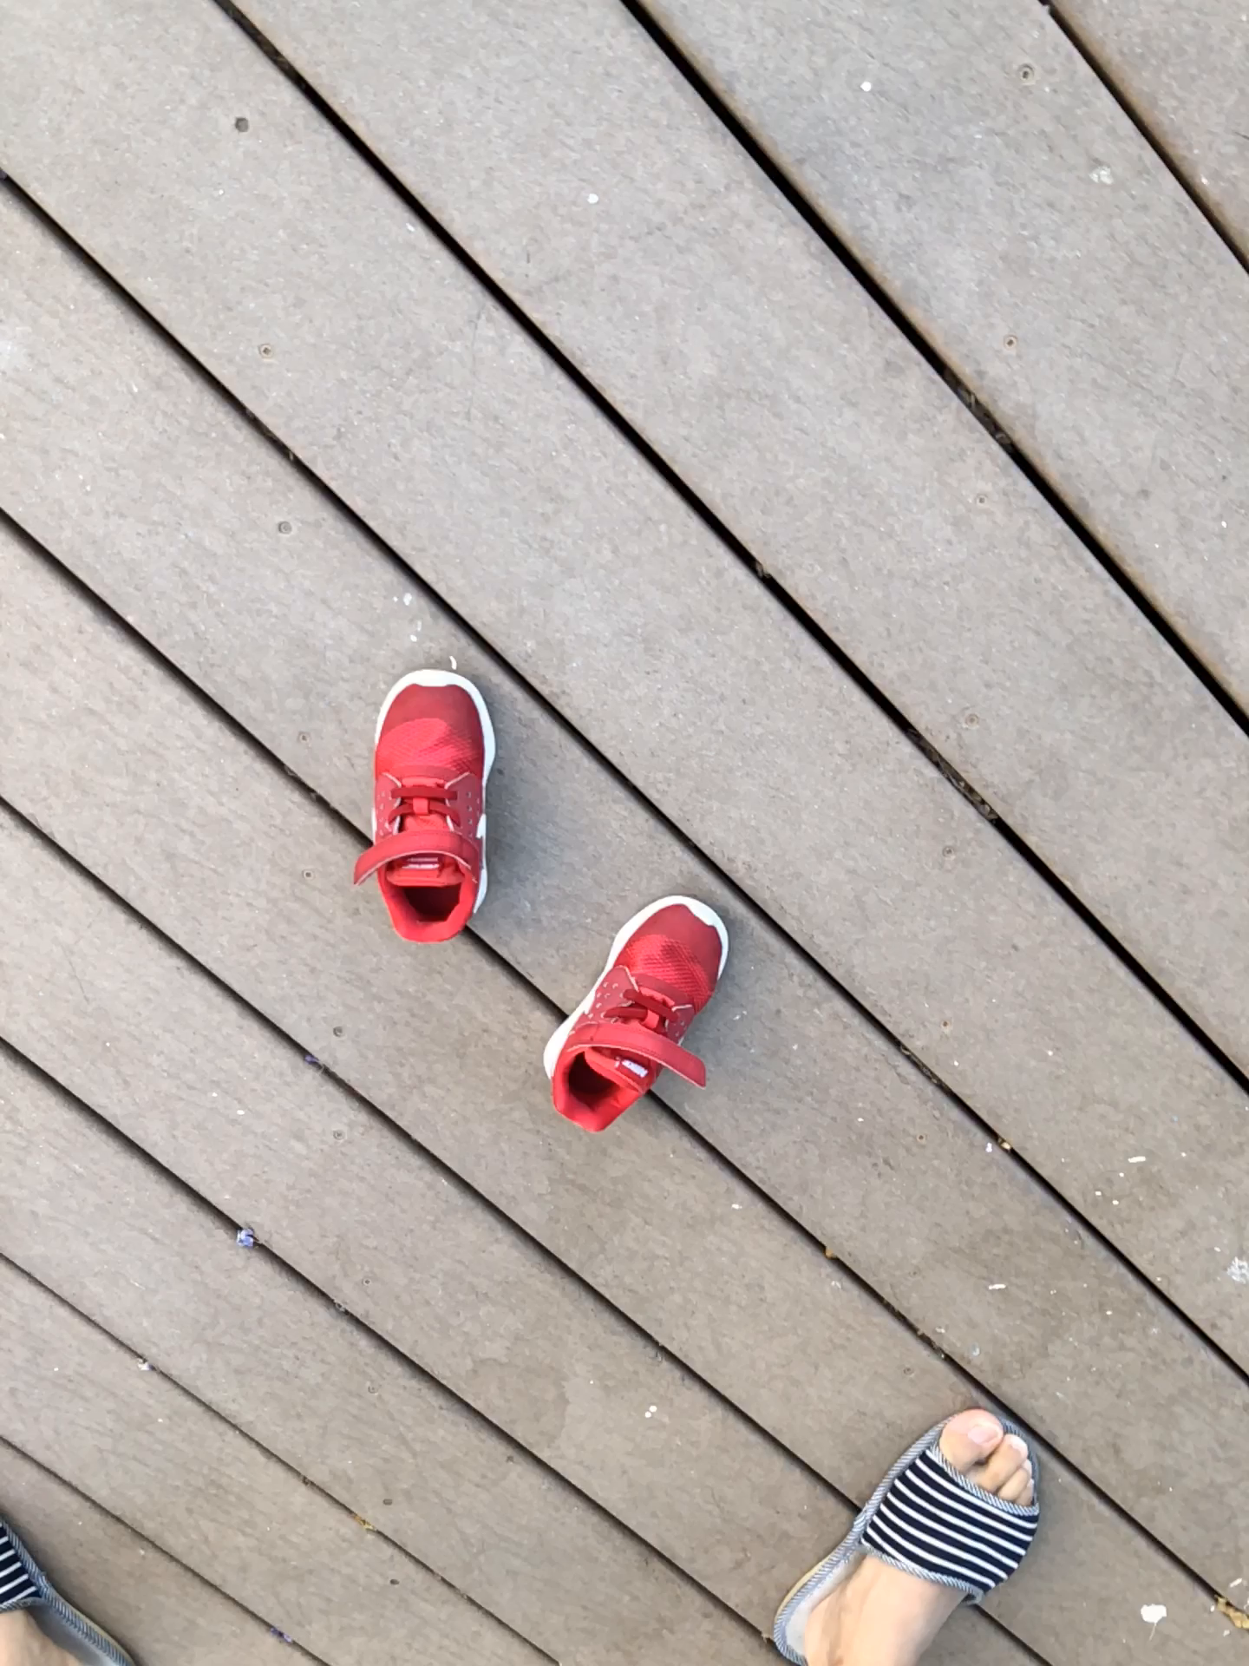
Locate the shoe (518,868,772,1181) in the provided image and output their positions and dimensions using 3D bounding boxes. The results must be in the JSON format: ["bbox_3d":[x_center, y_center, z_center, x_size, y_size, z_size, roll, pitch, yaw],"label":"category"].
[{"bbox_3d":[0.010,0.116,0.830,0.069,0.069,0.165,31,109,-11],"label":"shoe"}]

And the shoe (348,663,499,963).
[{"bbox_3d":[-0.112,-0.012,0.783,0.073,0.069,0.153,3,112,0],"label":"shoe"}]
